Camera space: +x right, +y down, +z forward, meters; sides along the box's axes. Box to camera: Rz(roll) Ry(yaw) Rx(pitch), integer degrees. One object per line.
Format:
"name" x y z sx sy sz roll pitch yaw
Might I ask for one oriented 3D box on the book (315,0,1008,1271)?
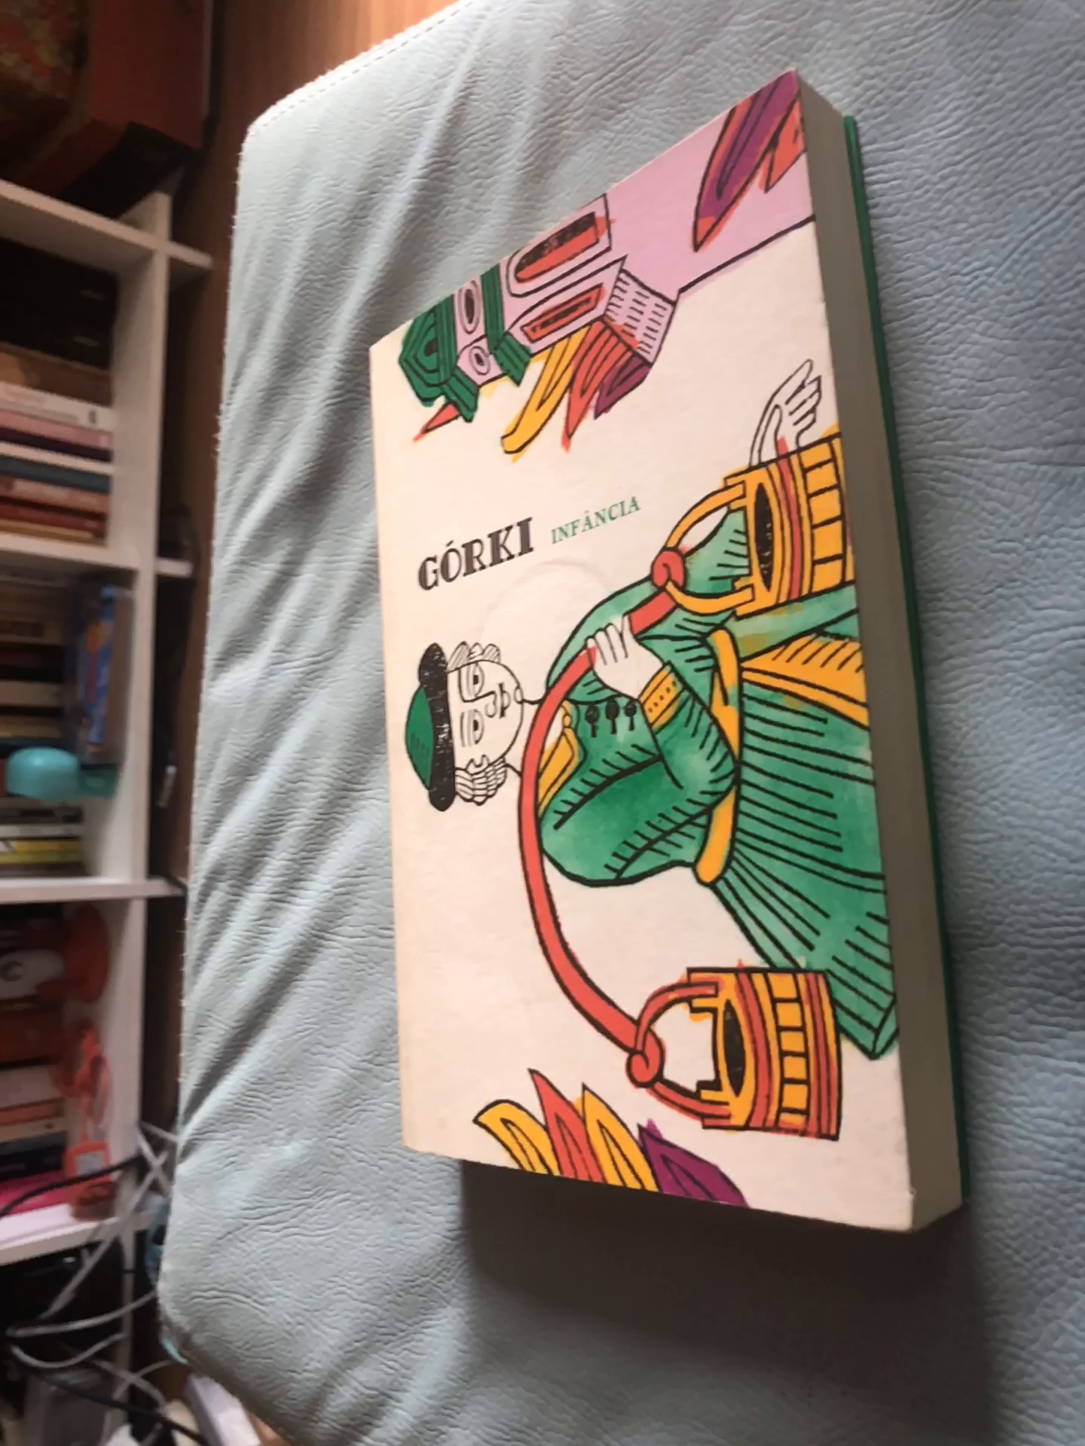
"book" 0.008 -0.013 0.236 0.131 0.030 0.200 -14 77 45
